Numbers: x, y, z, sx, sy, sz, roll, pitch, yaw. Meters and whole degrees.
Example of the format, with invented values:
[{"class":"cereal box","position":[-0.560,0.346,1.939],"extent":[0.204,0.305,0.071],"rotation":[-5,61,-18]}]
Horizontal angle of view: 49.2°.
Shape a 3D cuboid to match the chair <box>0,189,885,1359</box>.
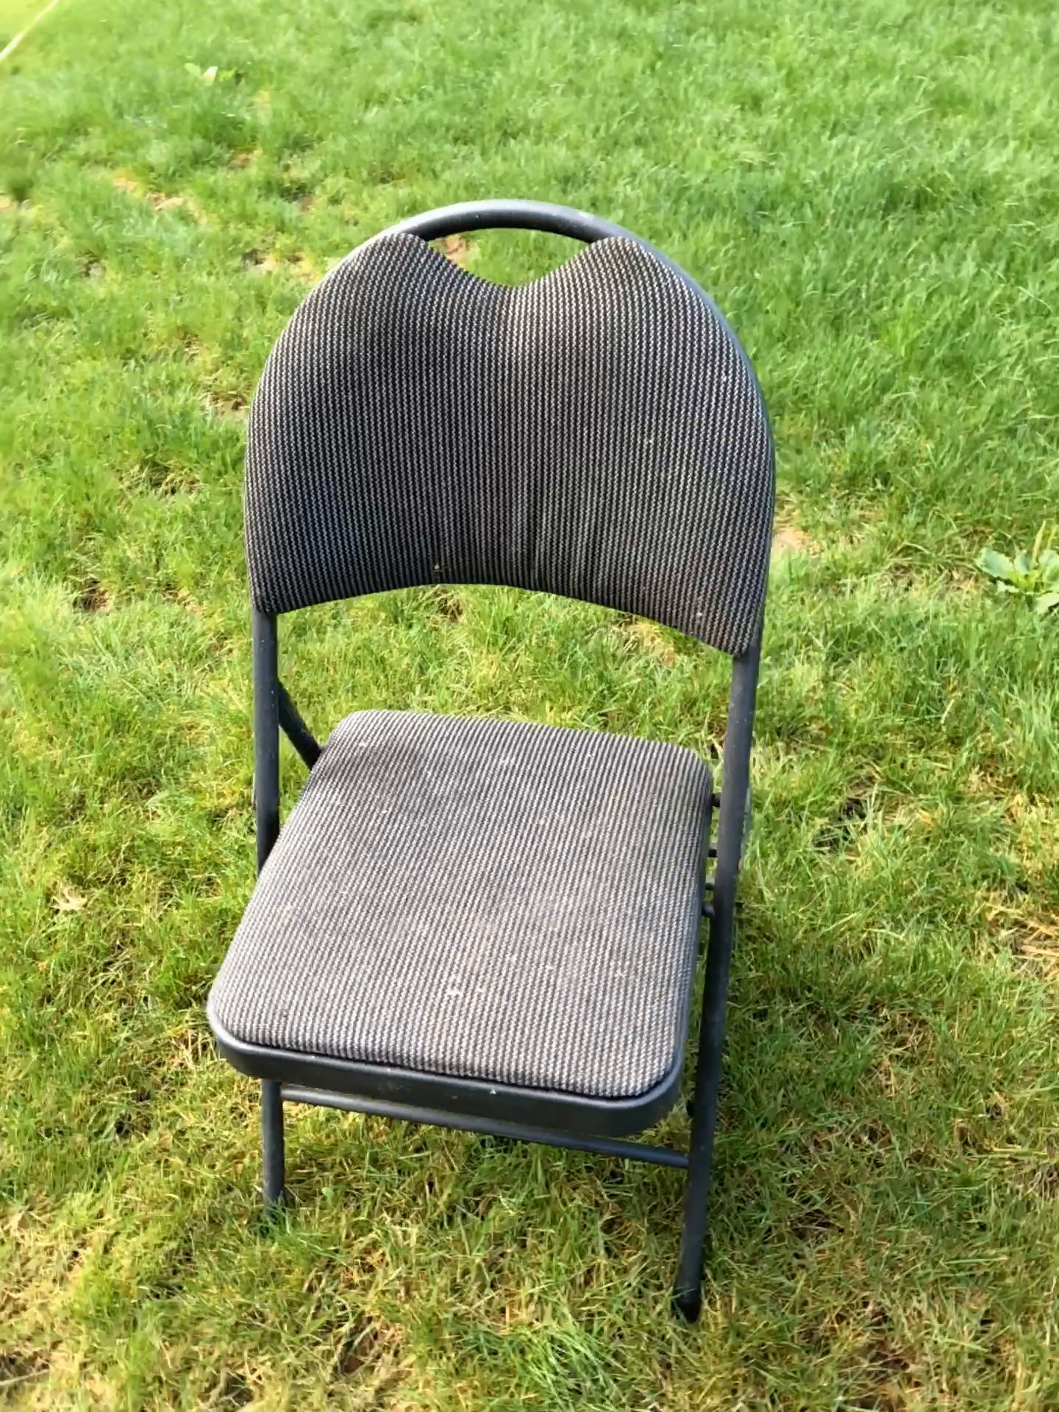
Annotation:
[{"class":"chair","position":[-0.026,0.077,1.024],"extent":[0.530,0.815,0.573],"rotation":[7,45,11]}]
